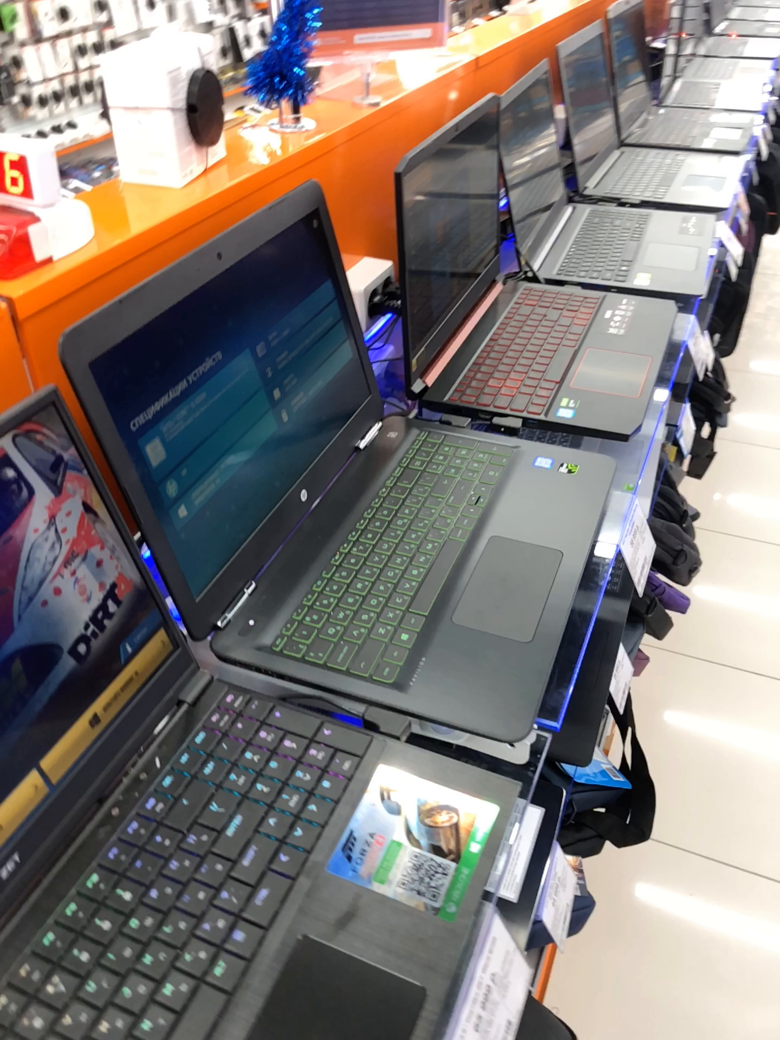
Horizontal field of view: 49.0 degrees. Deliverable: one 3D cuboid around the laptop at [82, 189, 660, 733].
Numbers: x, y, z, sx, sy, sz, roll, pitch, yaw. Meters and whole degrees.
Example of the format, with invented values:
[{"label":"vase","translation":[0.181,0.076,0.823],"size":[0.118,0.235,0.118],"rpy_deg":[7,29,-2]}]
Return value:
[{"label":"laptop","translation":[0.017,-0.084,0.693],"size":[0.311,0.235,0.359],"rpy_deg":[12,38,17]}]
